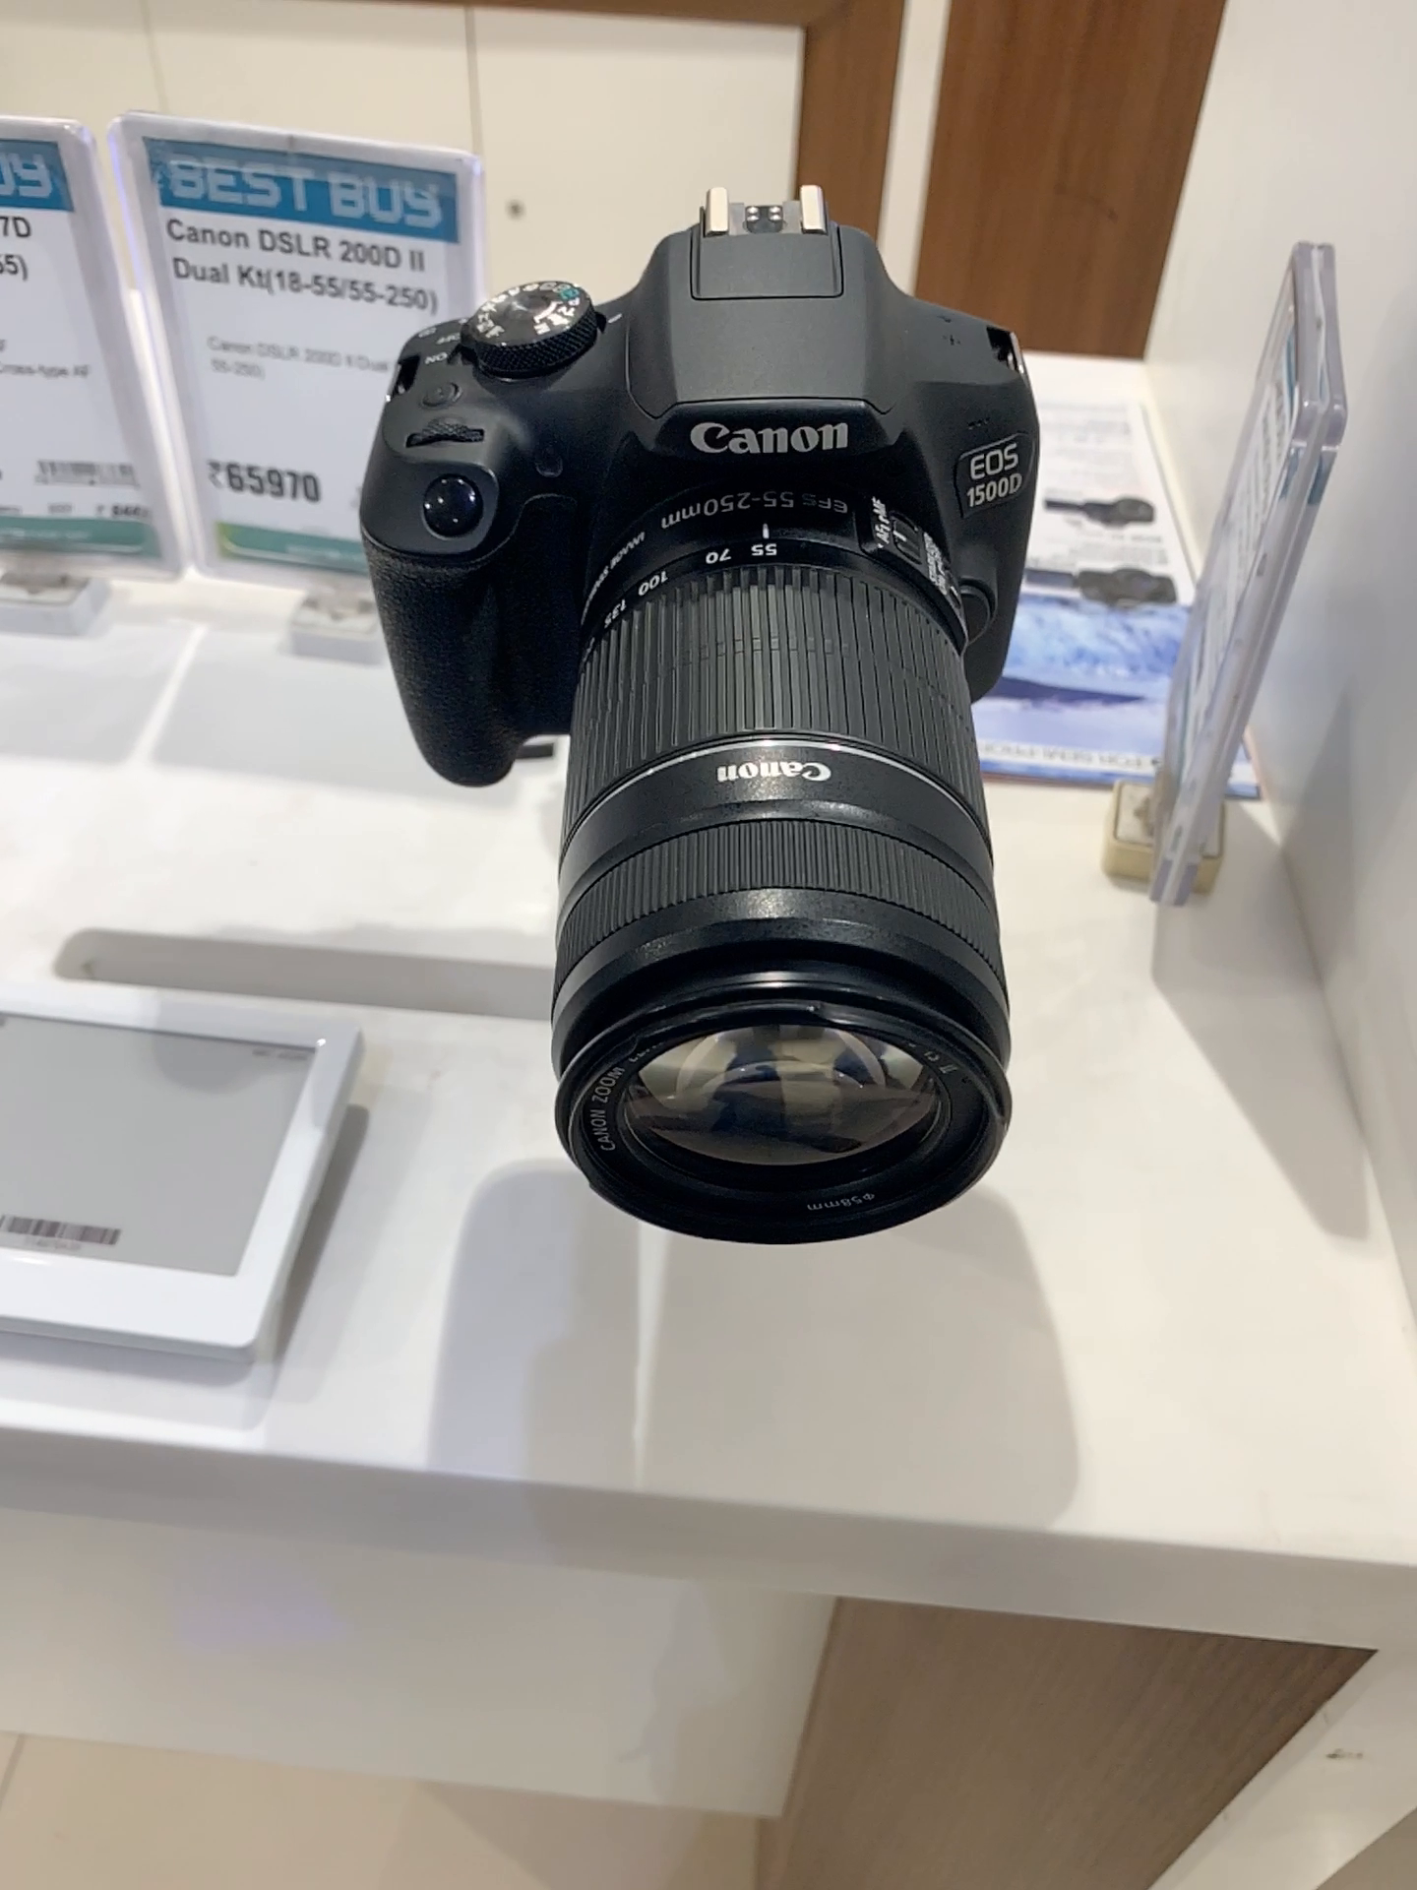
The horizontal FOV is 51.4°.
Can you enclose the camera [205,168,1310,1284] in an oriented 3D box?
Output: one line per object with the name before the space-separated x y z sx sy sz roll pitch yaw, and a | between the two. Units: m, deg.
camera | 0.002 -0.041 0.241 0.117 0.090 0.164 0 53 -3
